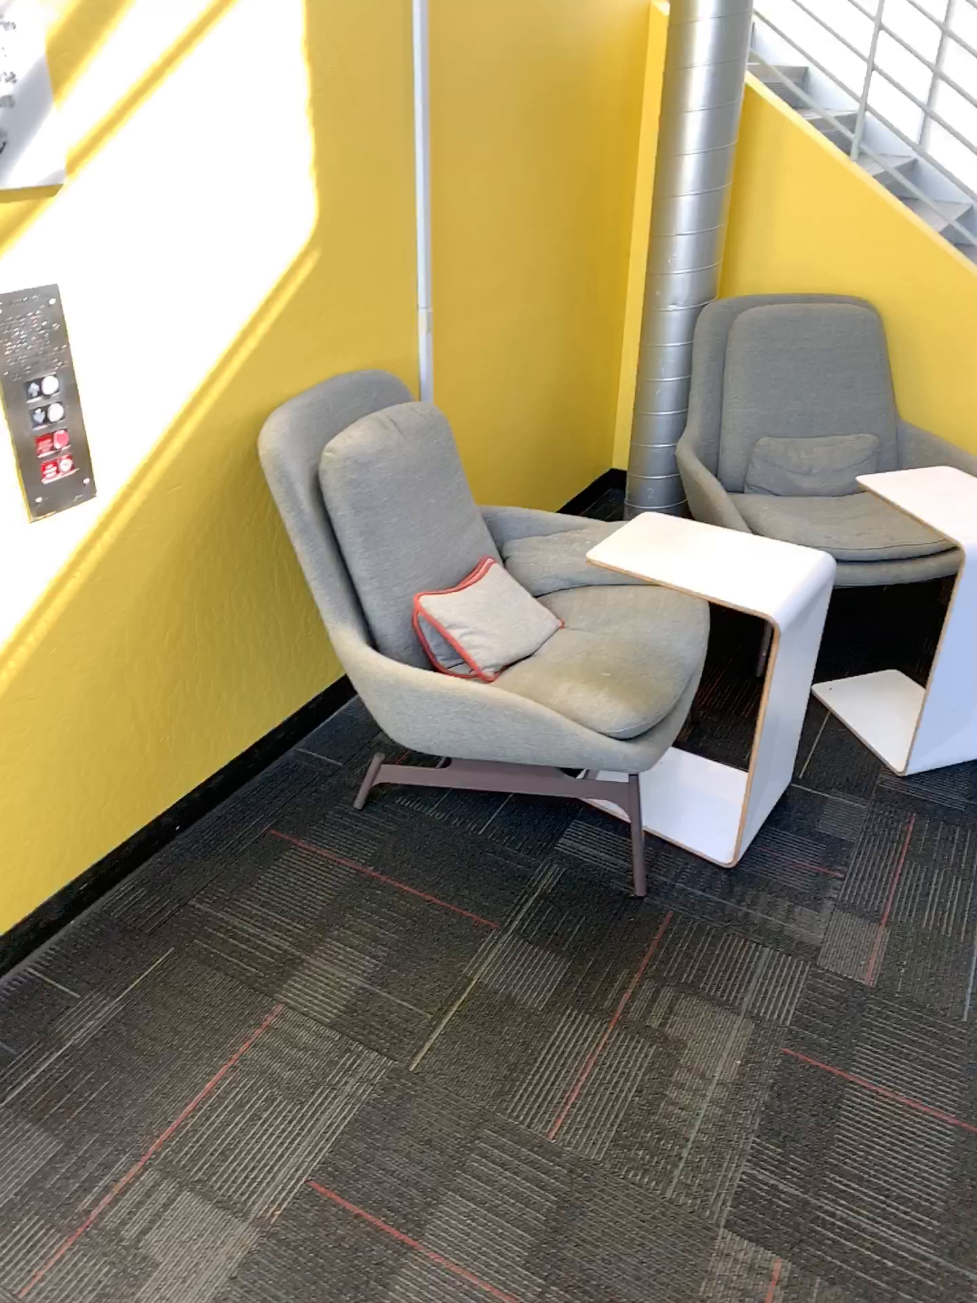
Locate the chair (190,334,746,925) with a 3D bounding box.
[{"bbox_3d":[0.021,-0.121,2.201,0.871,0.924,0.804,9,31,19],"label":"chair"}]

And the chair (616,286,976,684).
[{"bbox_3d":[1.008,-0.589,3.265,0.890,1.014,0.845,-6,28,-11],"label":"chair"}]
